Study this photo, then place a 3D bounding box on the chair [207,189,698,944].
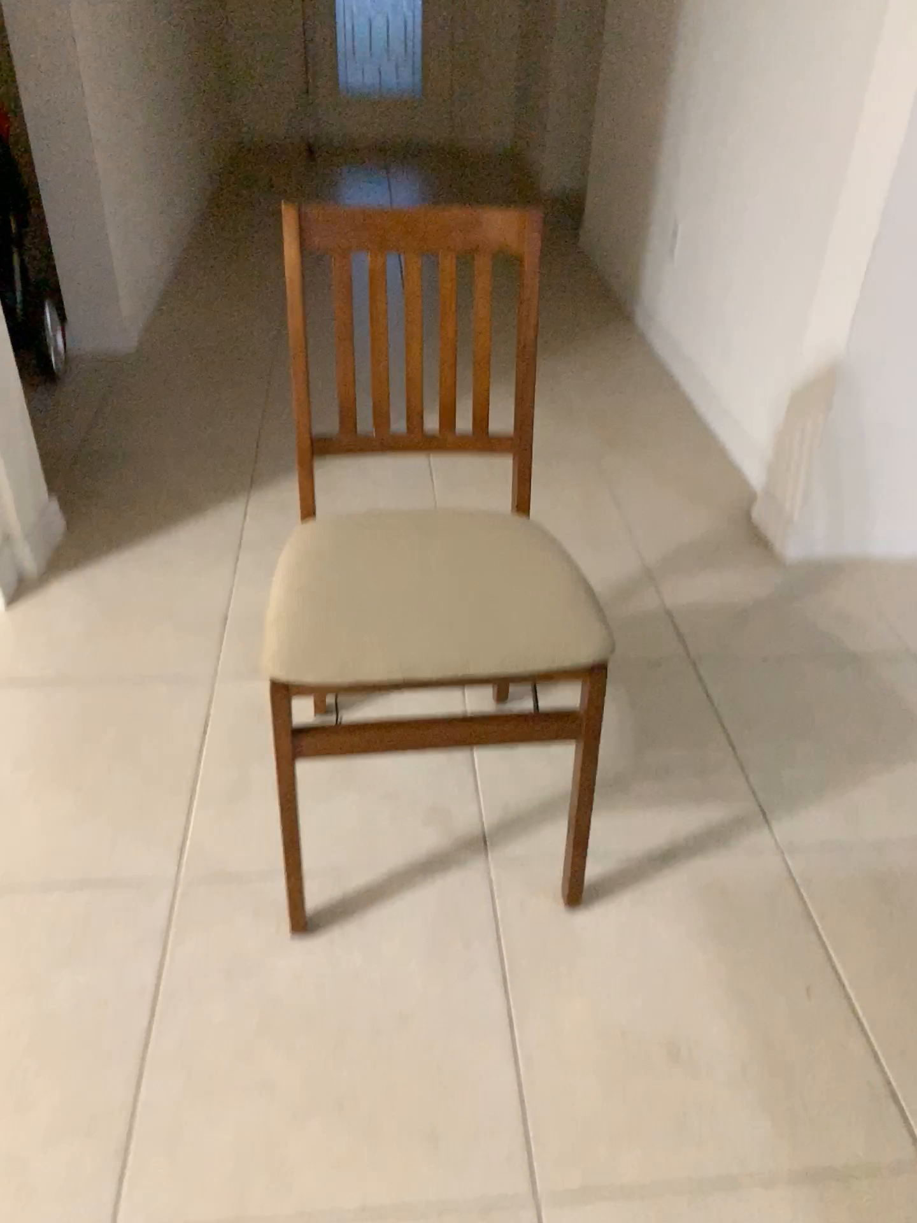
[{"bbox_3d":[-0.046,-0.066,1.346,0.450,0.879,0.597,-2,35,-6],"label":"chair"}]
